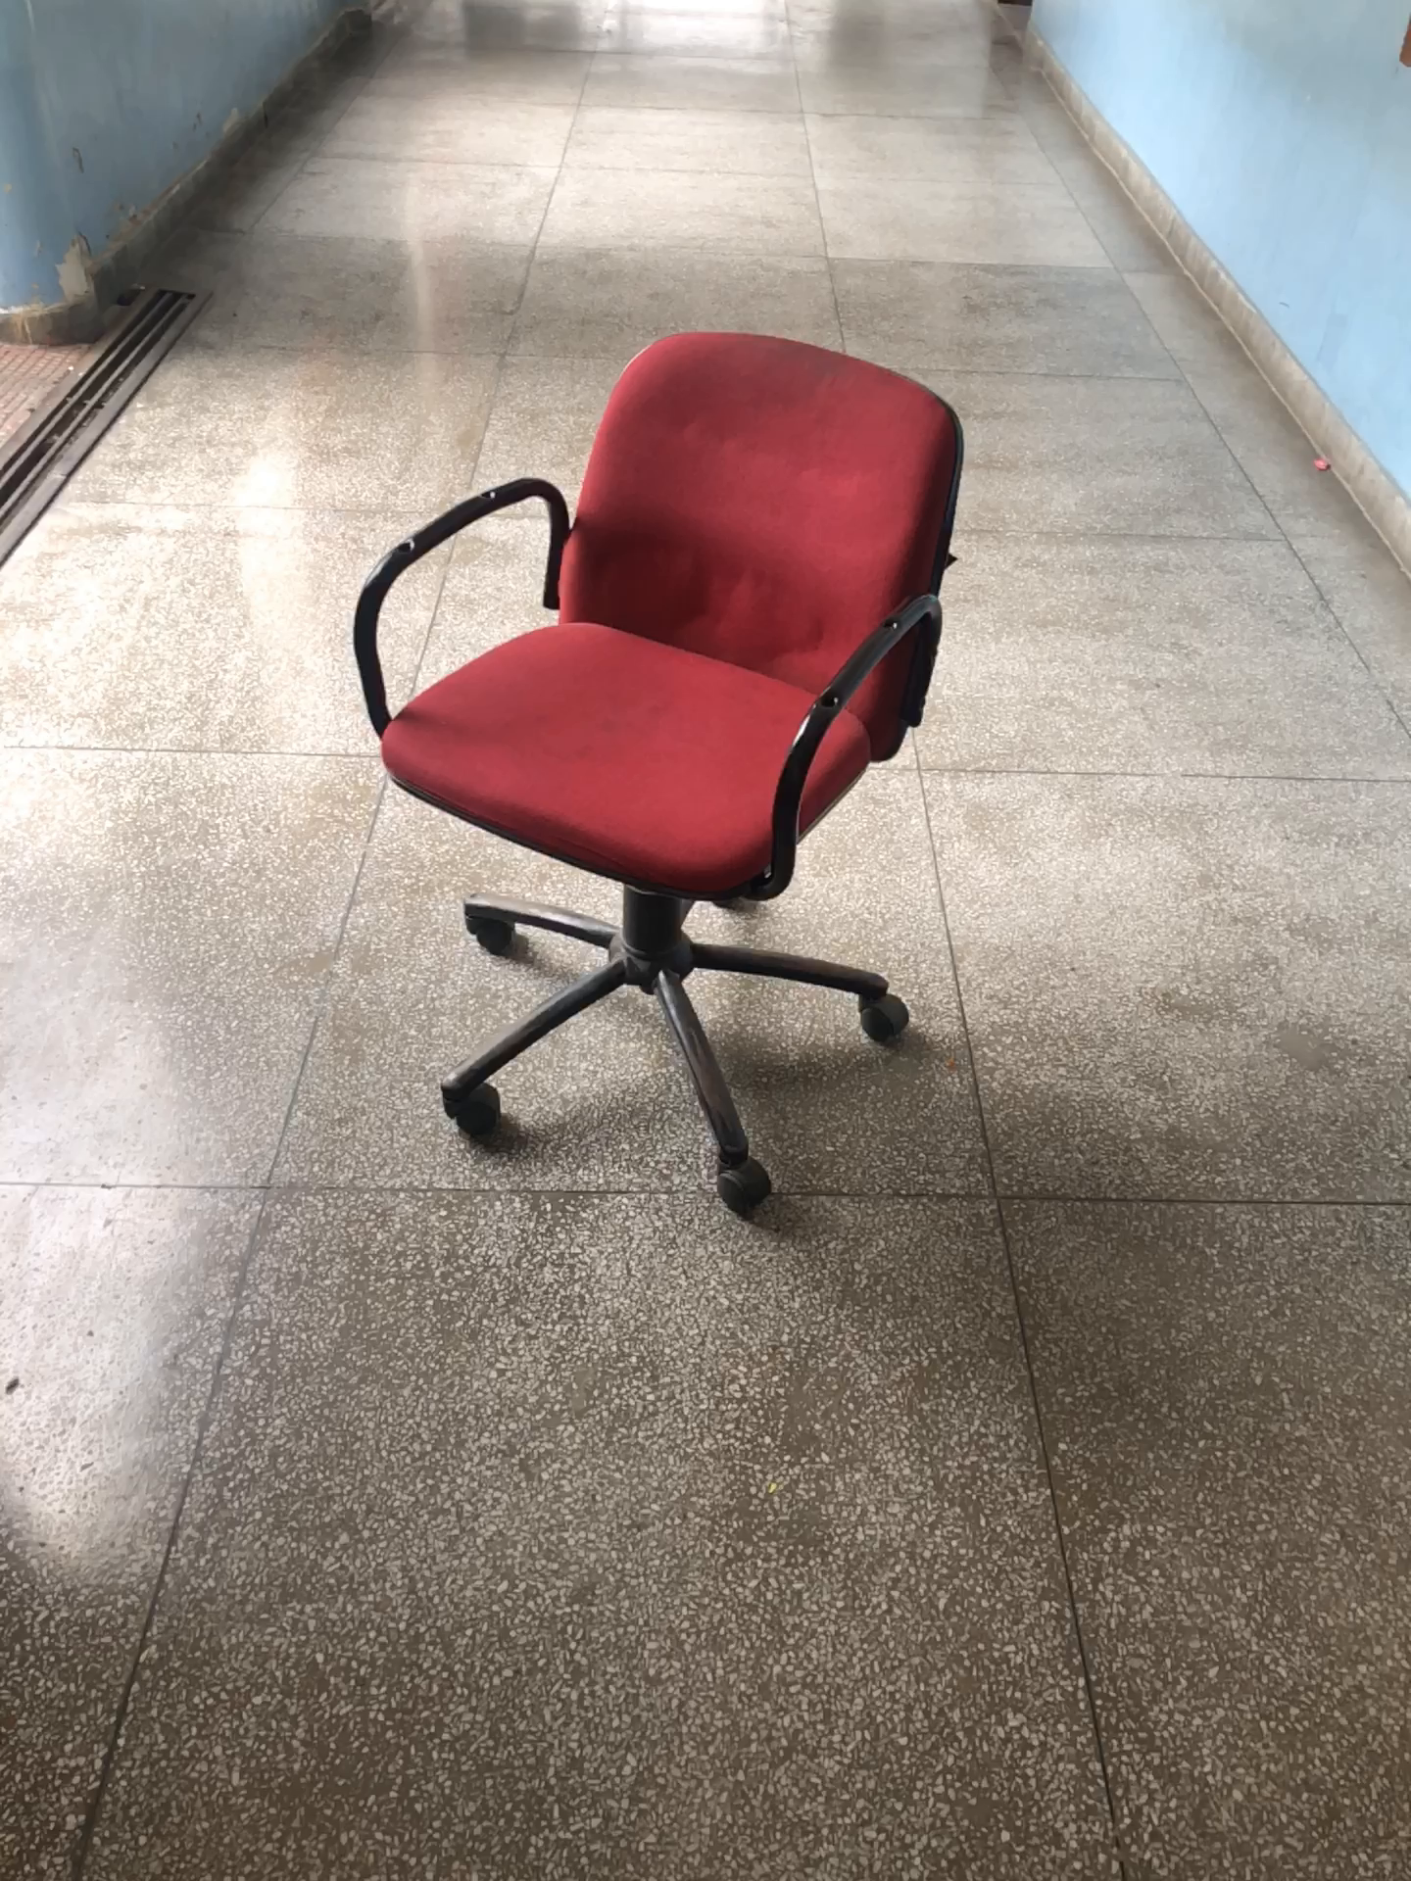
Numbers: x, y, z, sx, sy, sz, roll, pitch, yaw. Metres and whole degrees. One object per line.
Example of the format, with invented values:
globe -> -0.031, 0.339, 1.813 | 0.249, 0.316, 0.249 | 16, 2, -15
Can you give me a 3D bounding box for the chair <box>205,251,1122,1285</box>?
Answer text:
chair -> -0.023, -0.221, 1.741 | 0.651, 0.797, 0.642 | 20, 43, 20
